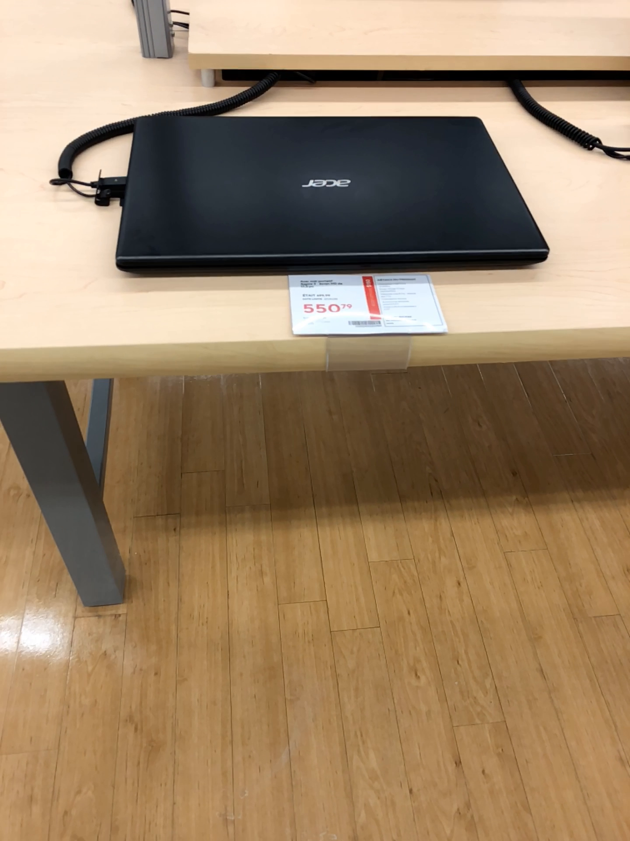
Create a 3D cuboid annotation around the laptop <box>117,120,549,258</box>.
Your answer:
[{"bbox_3d":[0.008,-0.260,0.746,0.416,0.001,0.268,-2,50,-5],"label":"laptop"}]
